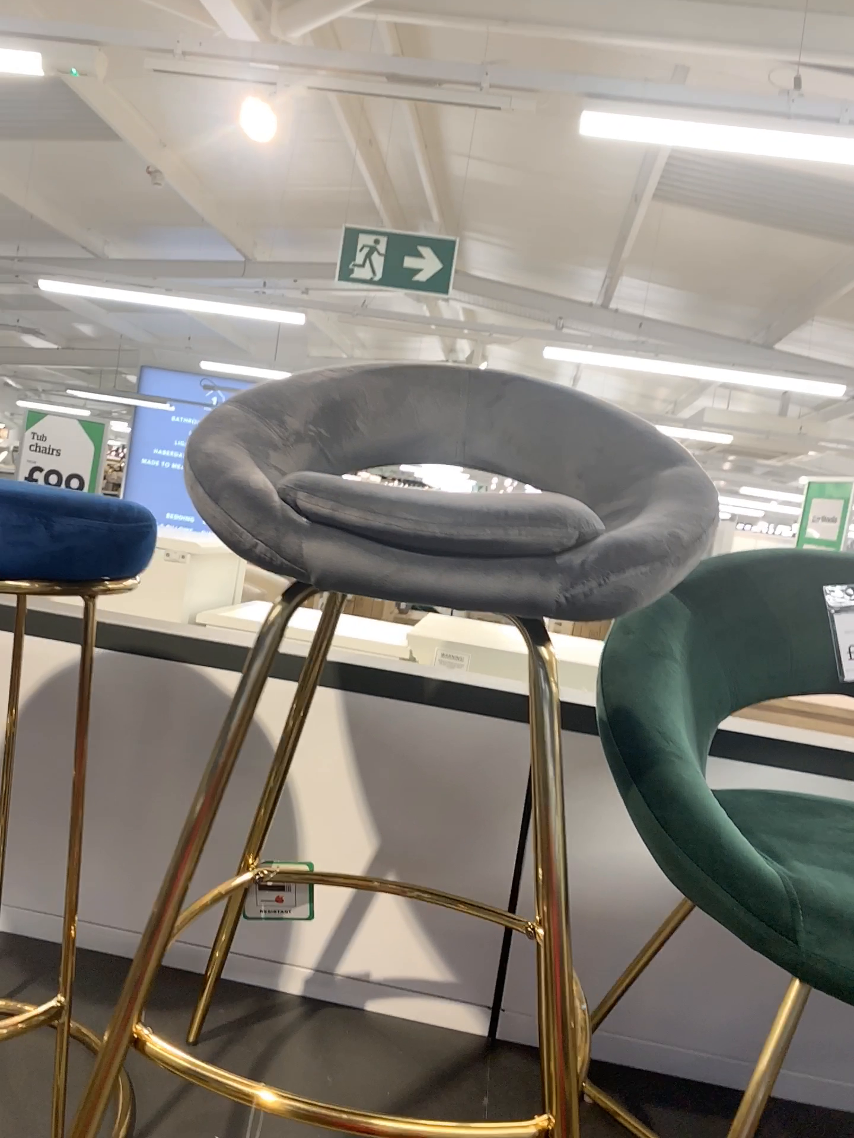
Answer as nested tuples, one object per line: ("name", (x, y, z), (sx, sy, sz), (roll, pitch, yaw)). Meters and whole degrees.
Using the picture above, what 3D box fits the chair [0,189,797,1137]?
("chair", (-0.038, 0.189, 0.849), (0.486, 0.873, 0.475), (9, 2, 5))
